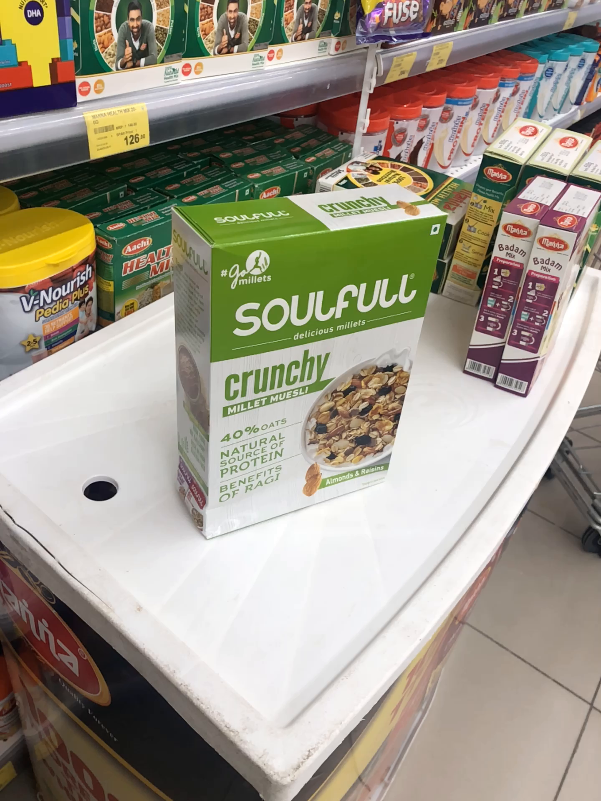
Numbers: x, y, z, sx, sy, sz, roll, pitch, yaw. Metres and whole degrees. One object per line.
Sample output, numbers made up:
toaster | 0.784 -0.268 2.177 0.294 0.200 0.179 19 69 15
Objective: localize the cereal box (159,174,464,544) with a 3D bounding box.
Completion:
cereal box | -0.003 -0.026 0.497 0.180 0.249 0.070 -15 45 -24
